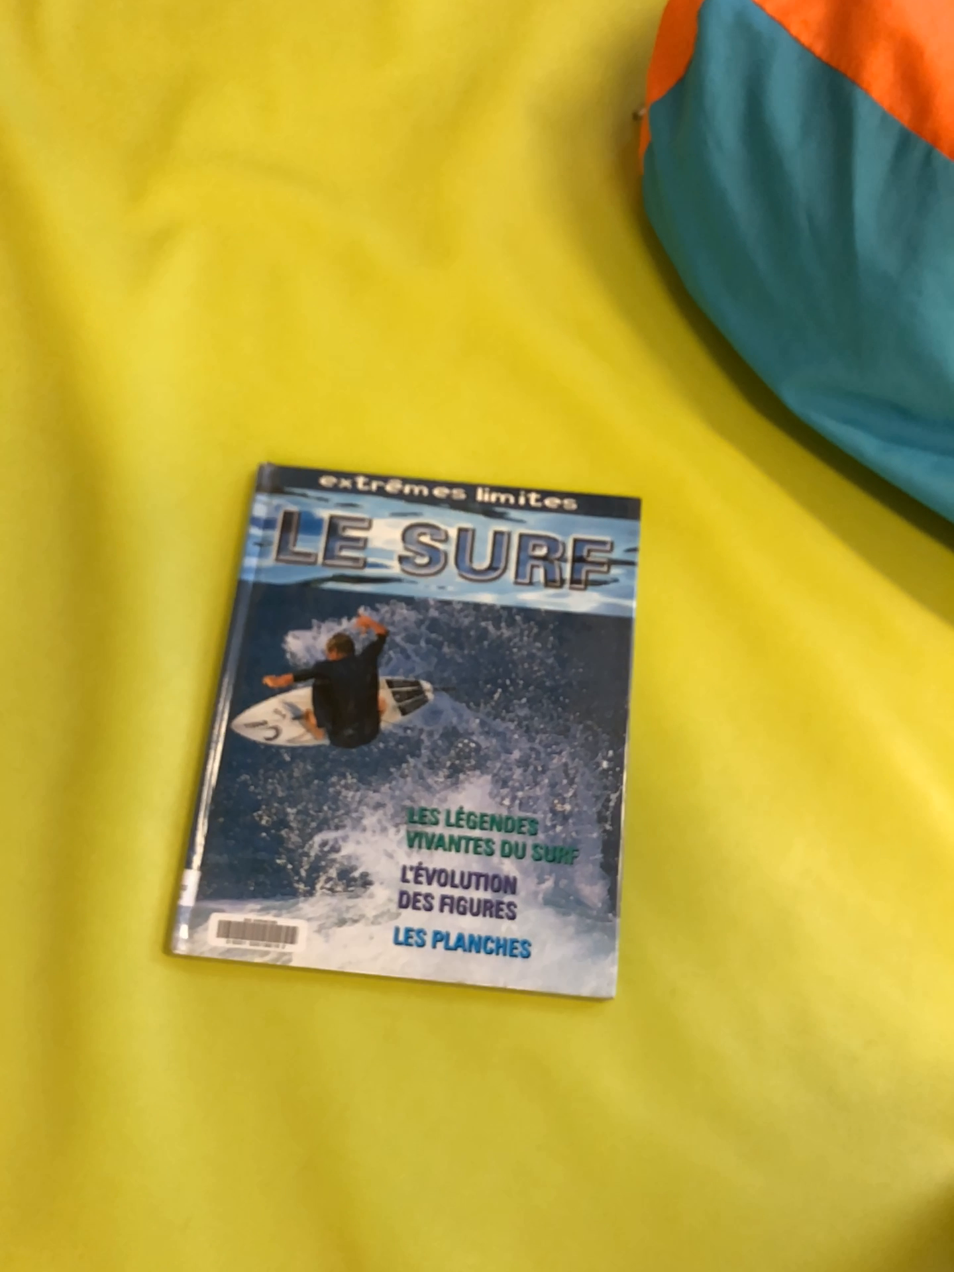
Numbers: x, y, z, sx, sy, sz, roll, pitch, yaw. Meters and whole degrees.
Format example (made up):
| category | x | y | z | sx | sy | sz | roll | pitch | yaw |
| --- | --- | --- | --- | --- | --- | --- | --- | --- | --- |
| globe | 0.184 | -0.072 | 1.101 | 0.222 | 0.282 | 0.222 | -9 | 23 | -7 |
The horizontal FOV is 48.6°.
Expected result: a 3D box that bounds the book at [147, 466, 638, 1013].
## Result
| category | x | y | z | sx | sy | sz | roll | pitch | yaw |
| --- | --- | --- | --- | --- | --- | --- | --- | --- | --- |
| book | -0.034 | 0.045 | 0.562 | 0.226 | 0.016 | 0.273 | 5 | 71 | 1 |
